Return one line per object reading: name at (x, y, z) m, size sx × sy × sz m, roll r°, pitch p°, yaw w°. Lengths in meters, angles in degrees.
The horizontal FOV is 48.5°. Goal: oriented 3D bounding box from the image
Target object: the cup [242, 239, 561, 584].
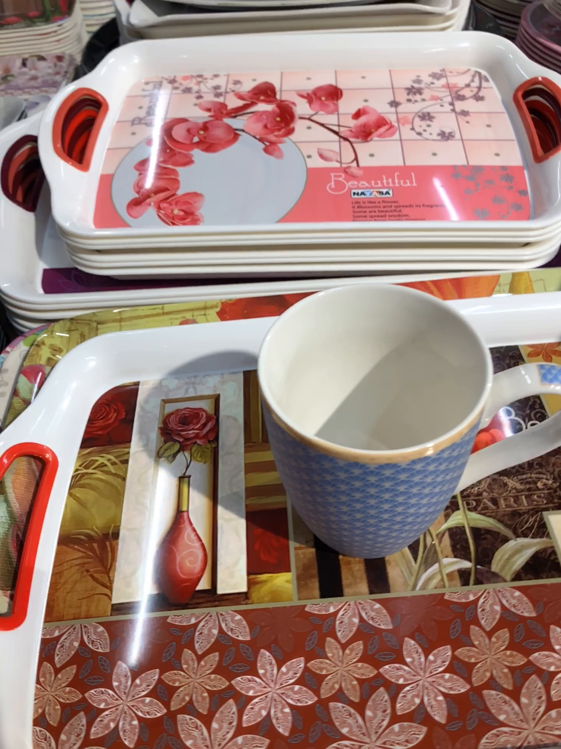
cup at (0.050, 0.016, 0.247) m, size 0.120 × 0.099 × 0.080 m, roll -5°, pitch 46°, yaw -1°
